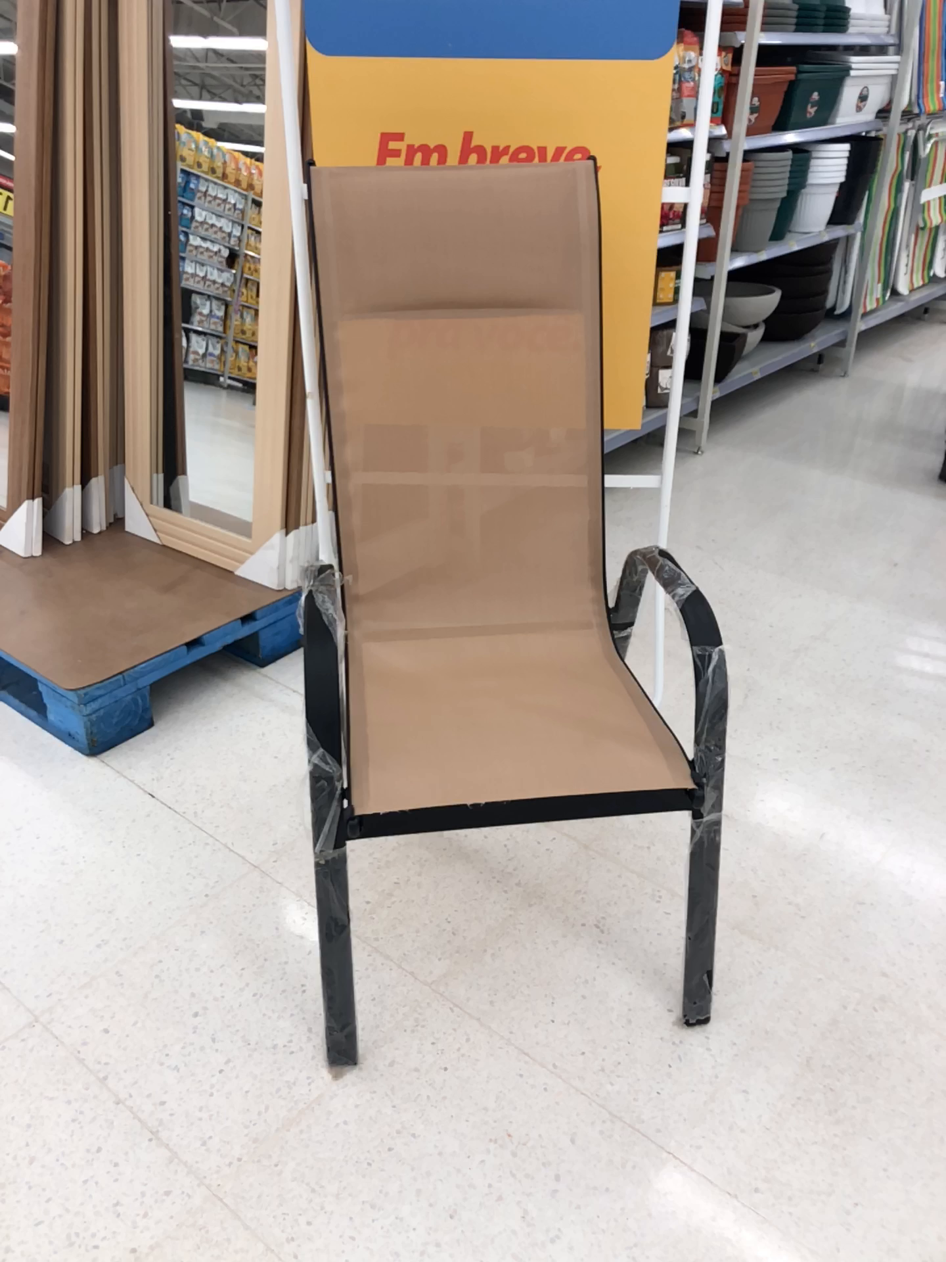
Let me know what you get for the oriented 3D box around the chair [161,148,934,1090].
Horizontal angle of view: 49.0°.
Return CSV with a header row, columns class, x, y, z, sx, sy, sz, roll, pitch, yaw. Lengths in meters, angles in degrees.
class,x,y,z,sx,sy,sz,roll,pitch,yaw
chair,0.026,-0.062,1.359,0.620,0.973,0.705,-3,29,-6
